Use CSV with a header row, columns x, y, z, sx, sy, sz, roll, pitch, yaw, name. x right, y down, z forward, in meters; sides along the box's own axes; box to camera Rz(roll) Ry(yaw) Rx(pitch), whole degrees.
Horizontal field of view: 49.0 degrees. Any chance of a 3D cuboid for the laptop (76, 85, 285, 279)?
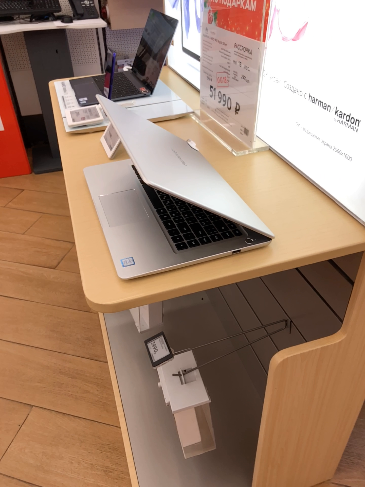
x,y,z,sx,sy,sz,roll,pitch,yaw,name
-0.029,-0.130,0.655,0.230,0.135,0.344,-13,38,-13,laptop
